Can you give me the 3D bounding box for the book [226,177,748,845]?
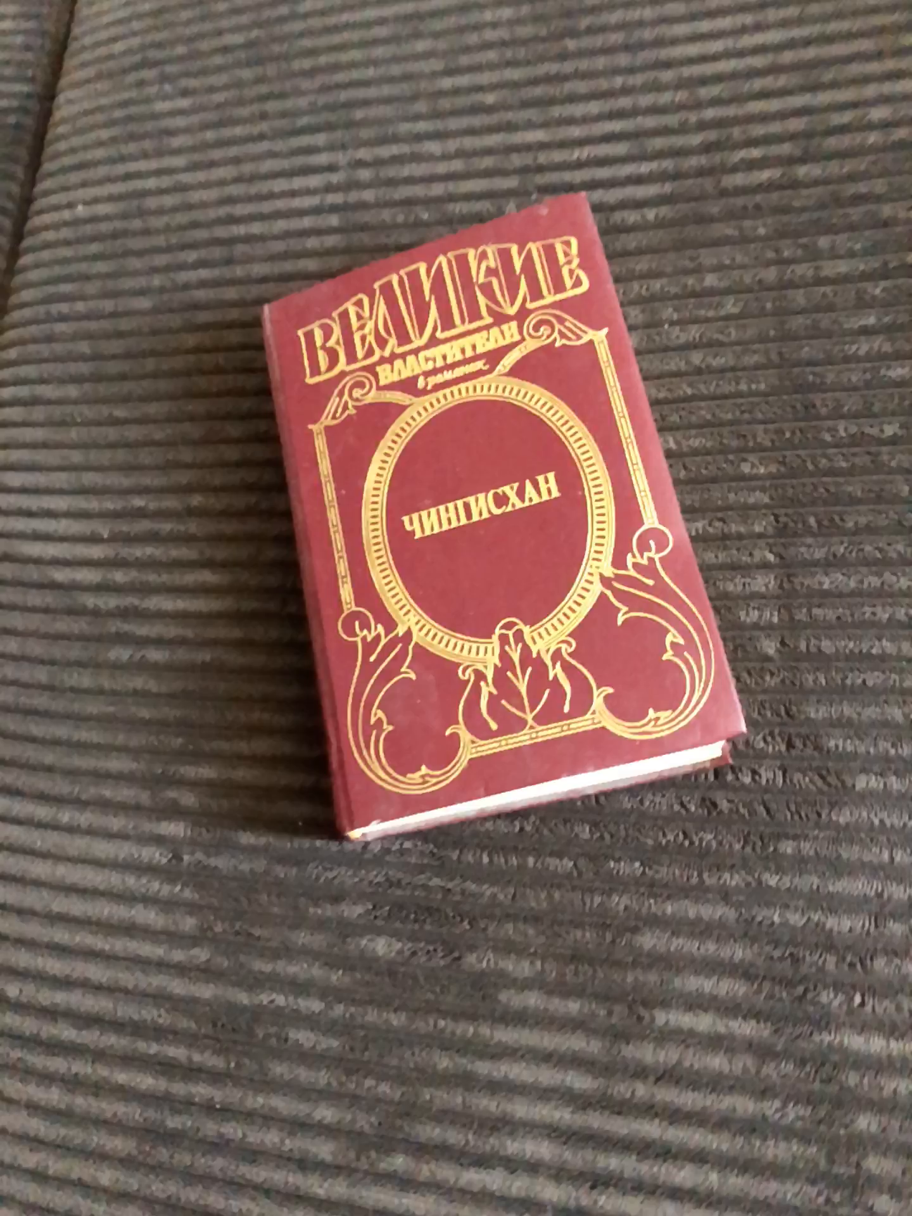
[{"bbox_3d":[0.005,-0.034,0.359,0.137,0.050,0.202,-16,71,10],"label":"book"}]
